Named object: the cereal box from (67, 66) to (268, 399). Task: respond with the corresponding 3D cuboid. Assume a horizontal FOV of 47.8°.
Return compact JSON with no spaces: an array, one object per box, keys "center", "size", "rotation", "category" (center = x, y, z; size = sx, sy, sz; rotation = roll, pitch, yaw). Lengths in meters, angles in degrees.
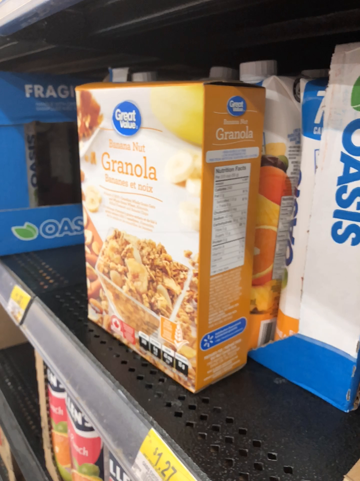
[{"center":[-0.022,-0.017,0.334],"size":[0.060,0.219,0.160],"rotation":[-13,22,-41],"category":"cereal box"}]
